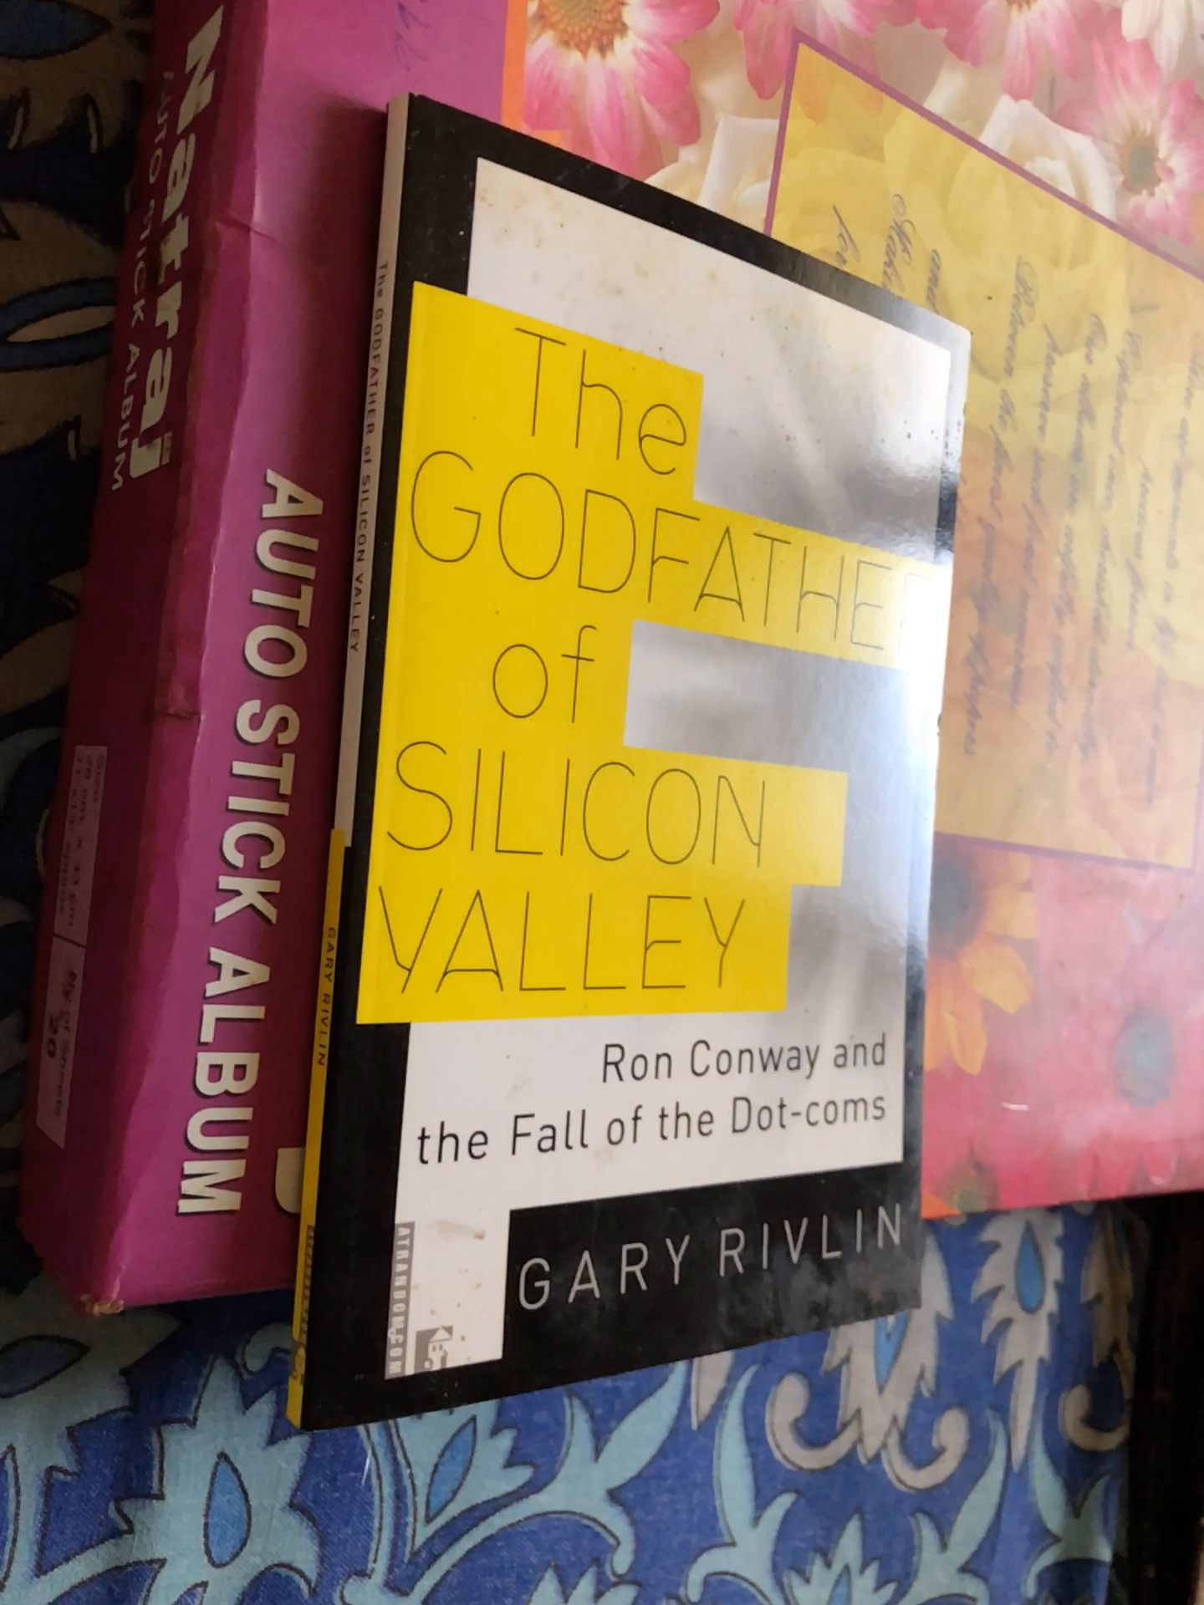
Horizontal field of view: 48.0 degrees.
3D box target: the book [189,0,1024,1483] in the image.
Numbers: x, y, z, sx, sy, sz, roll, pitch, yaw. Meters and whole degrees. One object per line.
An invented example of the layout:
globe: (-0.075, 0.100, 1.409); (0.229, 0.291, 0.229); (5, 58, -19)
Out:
book: (0.012, -0.004, 0.250); (0.151, 0.020, 0.220); (6, 90, -37)
